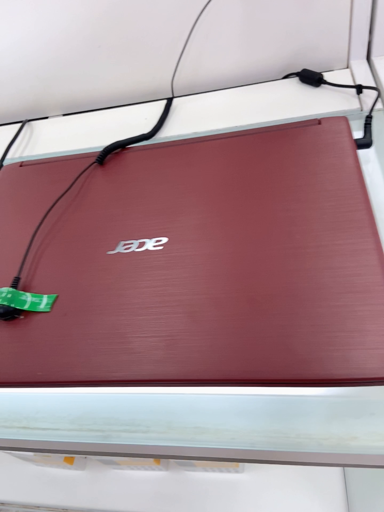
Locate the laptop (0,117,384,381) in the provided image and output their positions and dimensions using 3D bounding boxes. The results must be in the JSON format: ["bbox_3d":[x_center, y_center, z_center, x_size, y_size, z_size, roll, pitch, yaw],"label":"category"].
[{"bbox_3d":[-0.047,-0.019,0.352,0.368,0.006,0.262,-4,51,13],"label":"laptop"}]
